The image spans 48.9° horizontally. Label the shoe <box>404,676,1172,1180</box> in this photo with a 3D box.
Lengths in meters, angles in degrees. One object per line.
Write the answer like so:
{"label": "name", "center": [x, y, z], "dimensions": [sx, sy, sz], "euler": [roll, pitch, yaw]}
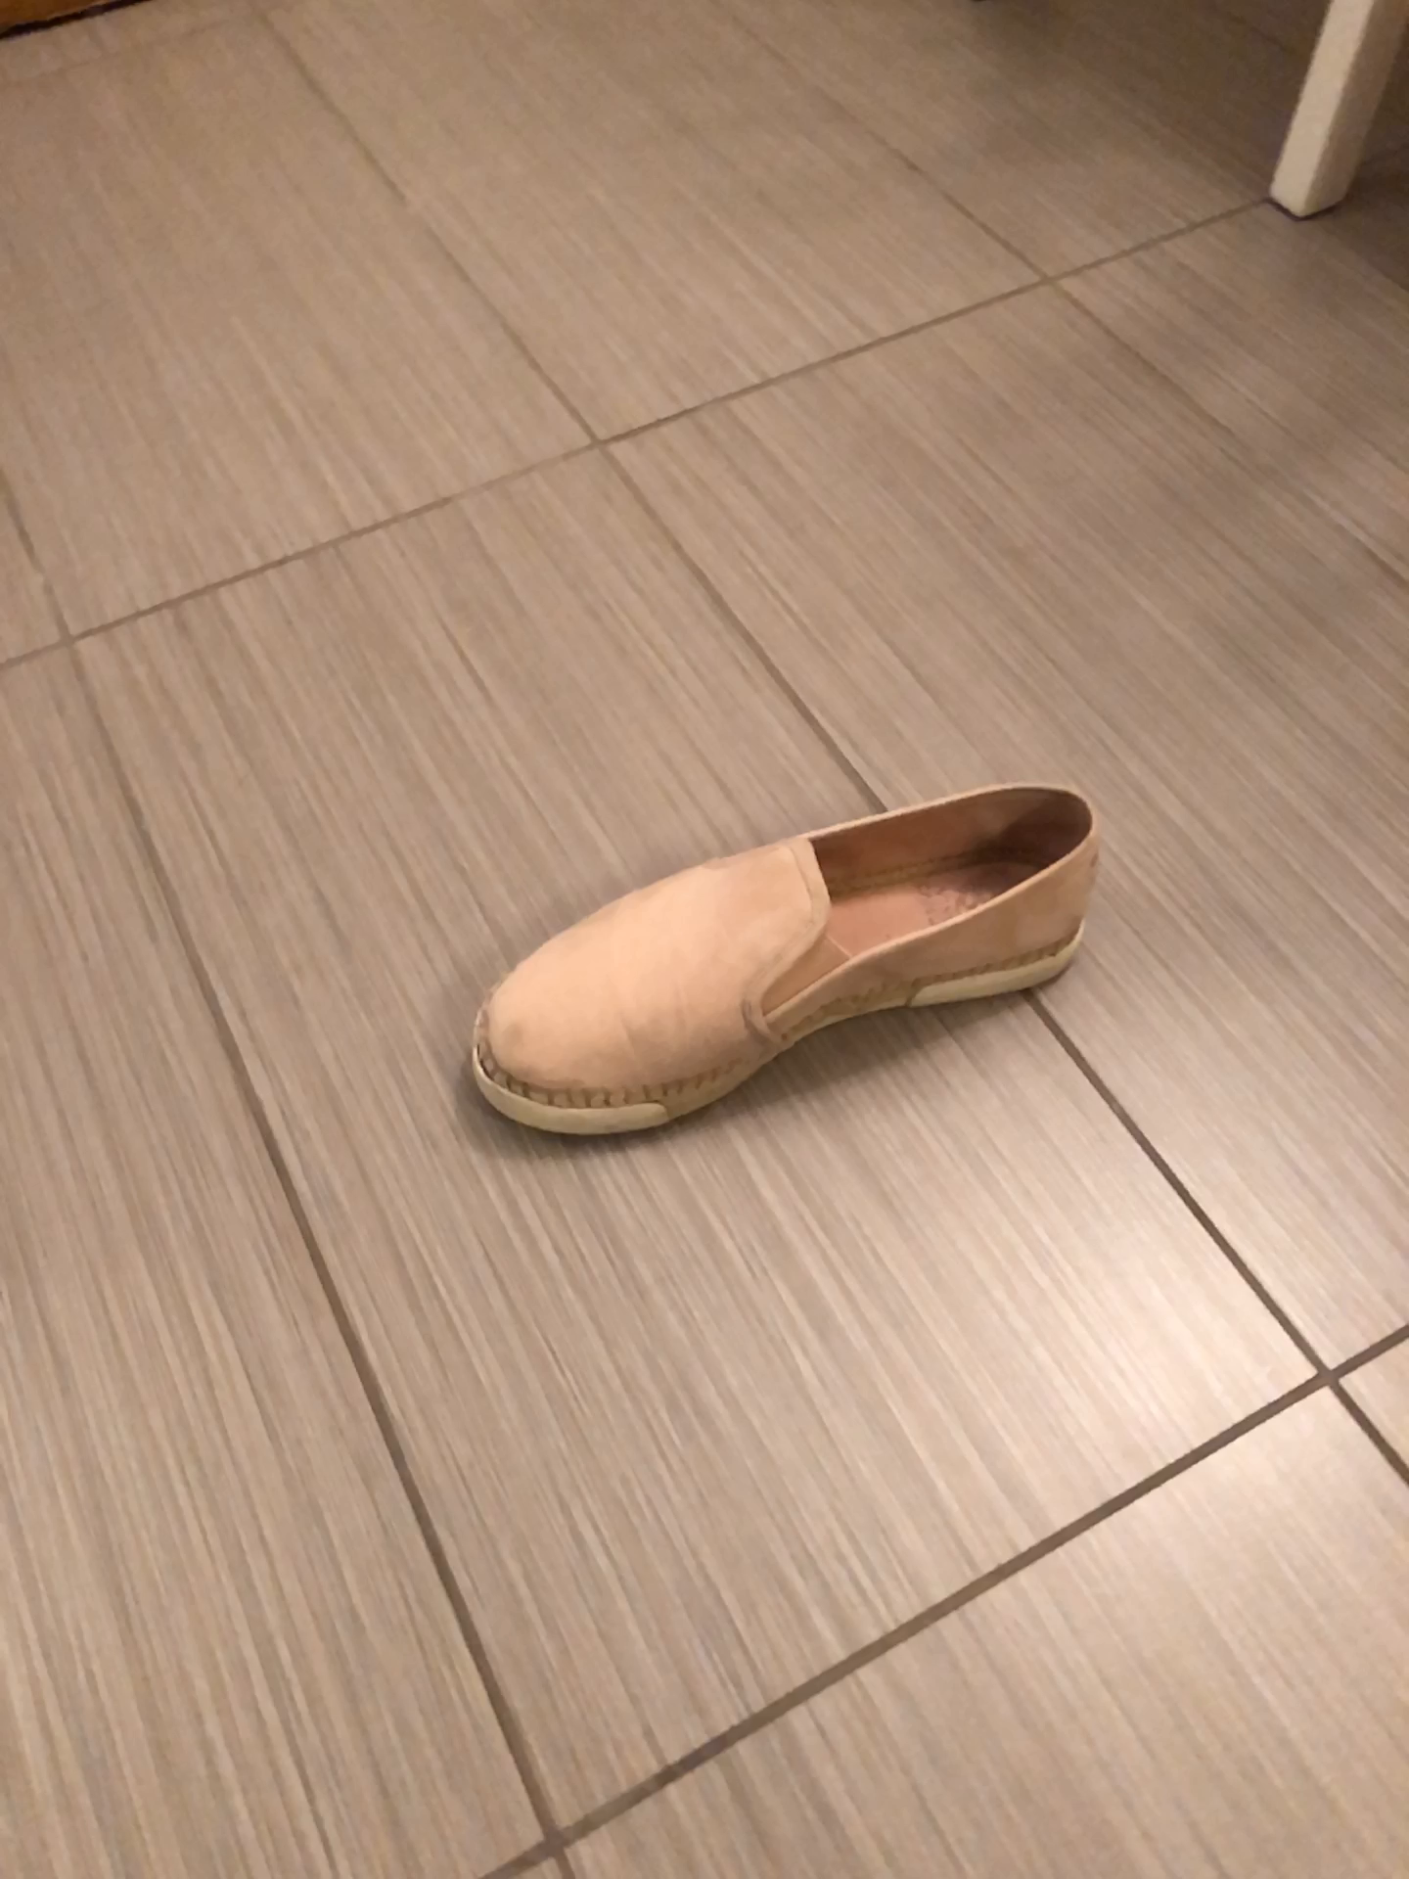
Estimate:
{"label": "shoe", "center": [0.031, -0.009, 0.617], "dimensions": [0.270, 0.070, 0.110], "euler": [-17, 55, -9]}
